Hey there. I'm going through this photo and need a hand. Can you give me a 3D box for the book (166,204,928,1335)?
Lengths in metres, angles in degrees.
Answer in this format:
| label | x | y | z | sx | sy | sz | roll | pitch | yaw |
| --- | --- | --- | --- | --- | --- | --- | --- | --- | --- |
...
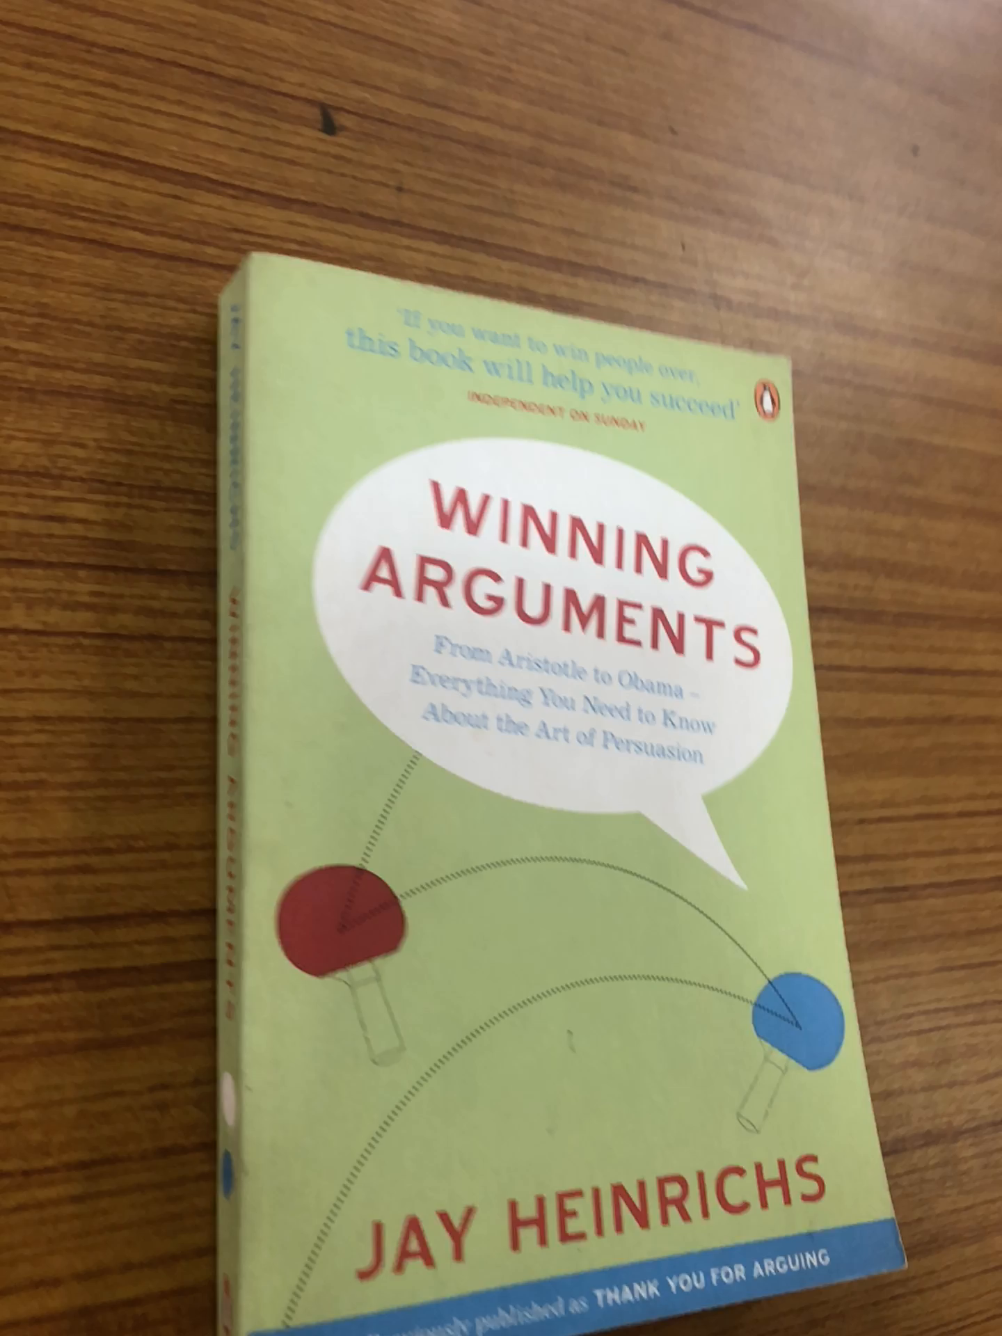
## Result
| label | x | y | z | sx | sy | sz | roll | pitch | yaw |
| --- | --- | --- | --- | --- | --- | --- | --- | --- | --- |
| book | 0.011 | 0.026 | 0.226 | 0.140 | 0.030 | 0.210 | 4 | 76 | -26 |
